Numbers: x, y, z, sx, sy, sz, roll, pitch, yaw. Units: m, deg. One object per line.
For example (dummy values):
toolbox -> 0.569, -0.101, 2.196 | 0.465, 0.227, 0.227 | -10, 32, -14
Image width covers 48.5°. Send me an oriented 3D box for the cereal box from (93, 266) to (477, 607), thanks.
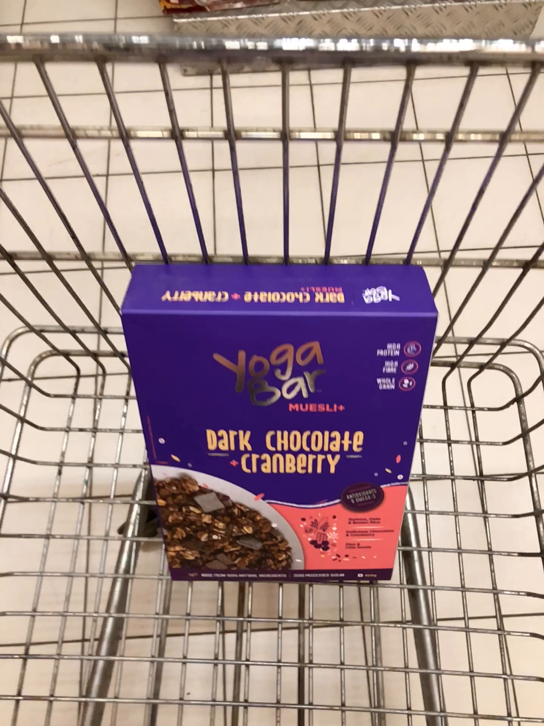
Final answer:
cereal box -> 0.007, 0.058, 0.374 | 0.180, 0.229, 0.060 | 0, 36, 1
